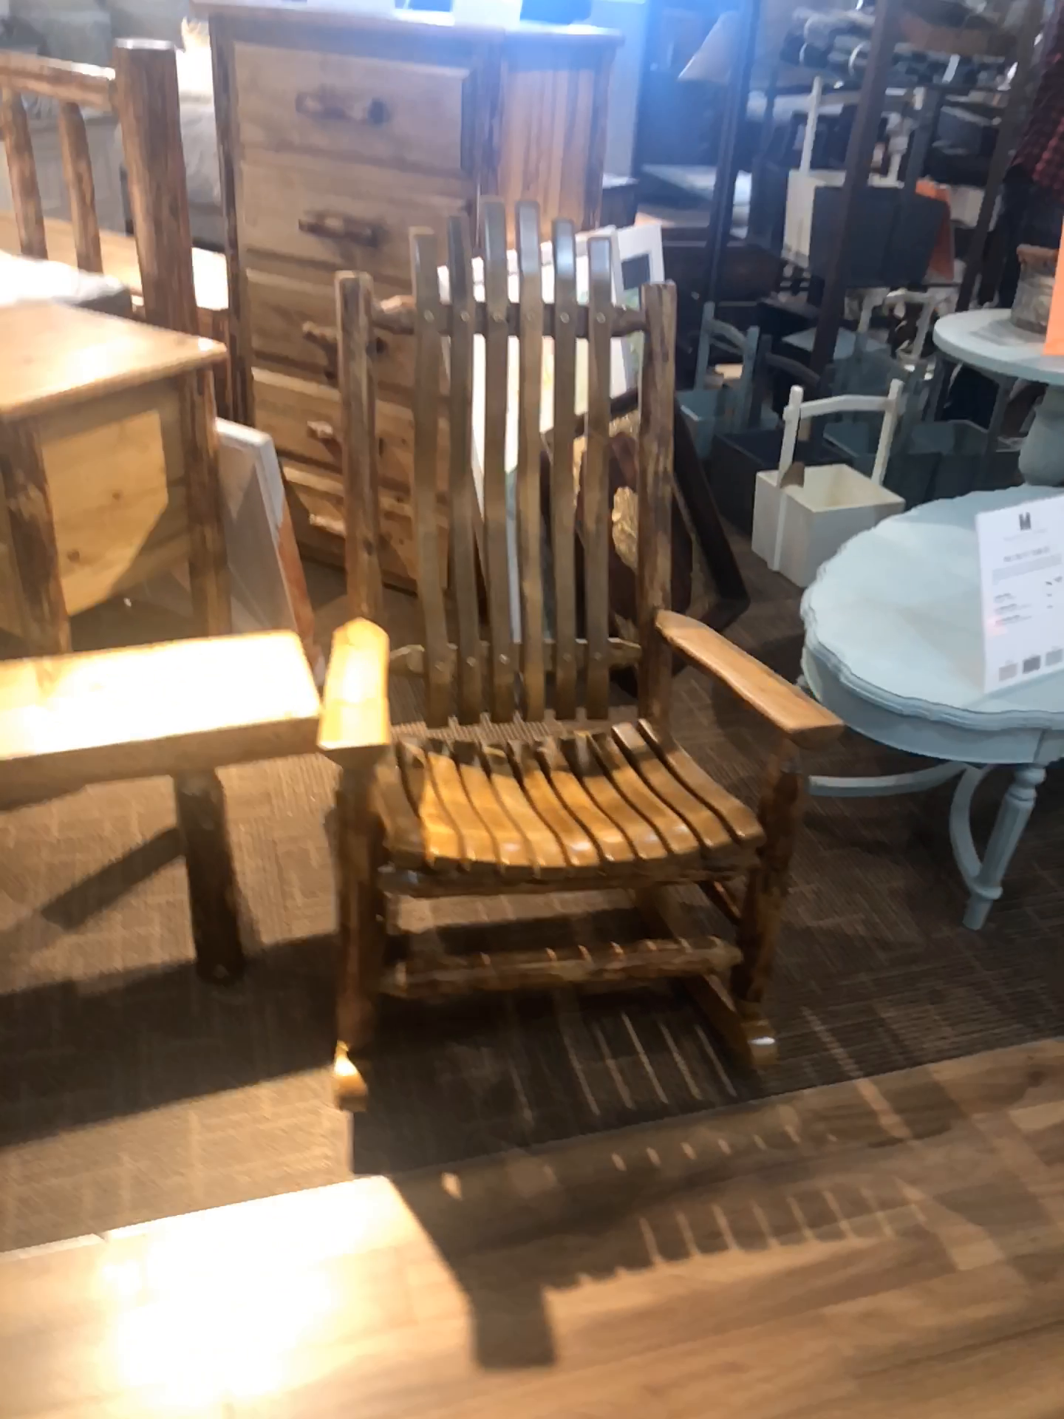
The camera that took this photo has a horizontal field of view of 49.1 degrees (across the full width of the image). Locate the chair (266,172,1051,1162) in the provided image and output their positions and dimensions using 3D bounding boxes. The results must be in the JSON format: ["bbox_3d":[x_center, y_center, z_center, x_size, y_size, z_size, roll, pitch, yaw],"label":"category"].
[{"bbox_3d":[0.017,-0.117,1.671,0.718,1.049,0.888,-3,32,-12],"label":"chair"}]
